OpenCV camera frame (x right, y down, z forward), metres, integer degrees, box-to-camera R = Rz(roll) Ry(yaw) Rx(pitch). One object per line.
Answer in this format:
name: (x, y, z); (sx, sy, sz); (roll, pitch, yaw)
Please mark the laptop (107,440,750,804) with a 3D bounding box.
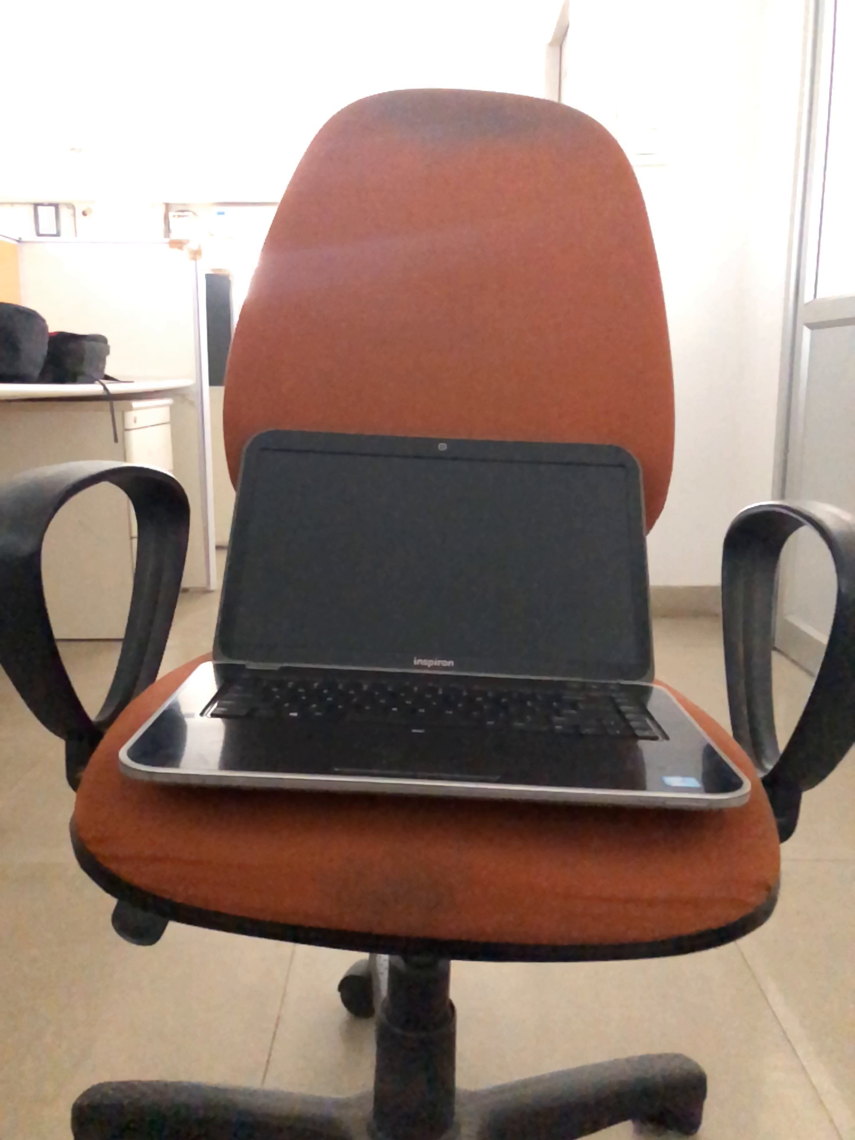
laptop: (0.000, 0.006, 0.702); (0.352, 0.173, 0.351); (1, 12, 2)
